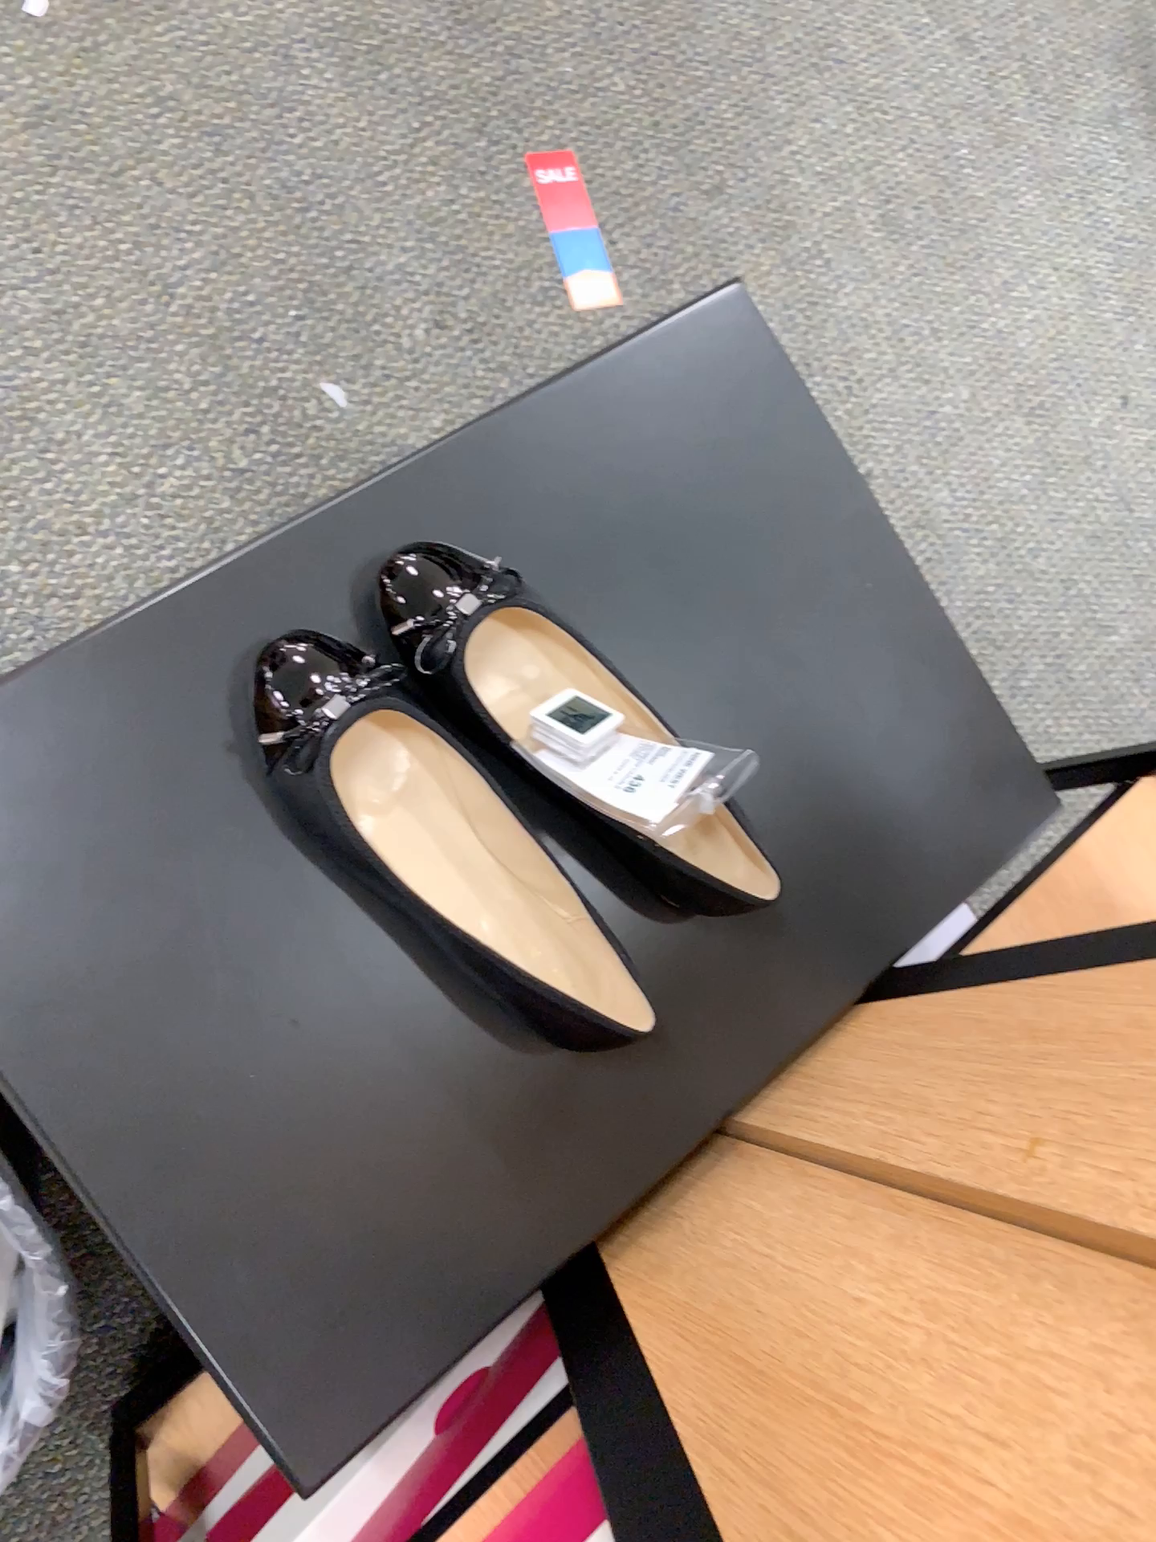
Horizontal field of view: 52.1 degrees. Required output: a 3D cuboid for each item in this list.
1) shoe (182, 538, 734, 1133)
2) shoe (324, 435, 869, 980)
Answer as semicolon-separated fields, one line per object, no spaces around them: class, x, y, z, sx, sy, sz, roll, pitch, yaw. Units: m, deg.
shoe;-0.058;0.033;0.540;0.090;0.100;0.250;-42;98;-21
shoe;0.006;-0.021;0.571;0.250;0.100;0.090;47;70;-9
